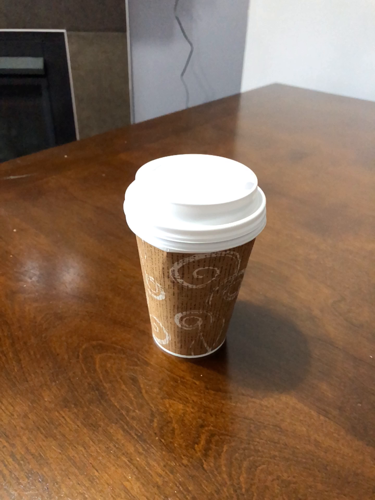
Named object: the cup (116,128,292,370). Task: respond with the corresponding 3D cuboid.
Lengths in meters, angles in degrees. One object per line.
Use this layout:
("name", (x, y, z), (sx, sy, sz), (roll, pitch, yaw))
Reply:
("cup", (0.006, -0.002, 0.227), (0.070, 0.100, 0.080), (3, 33, 1))
